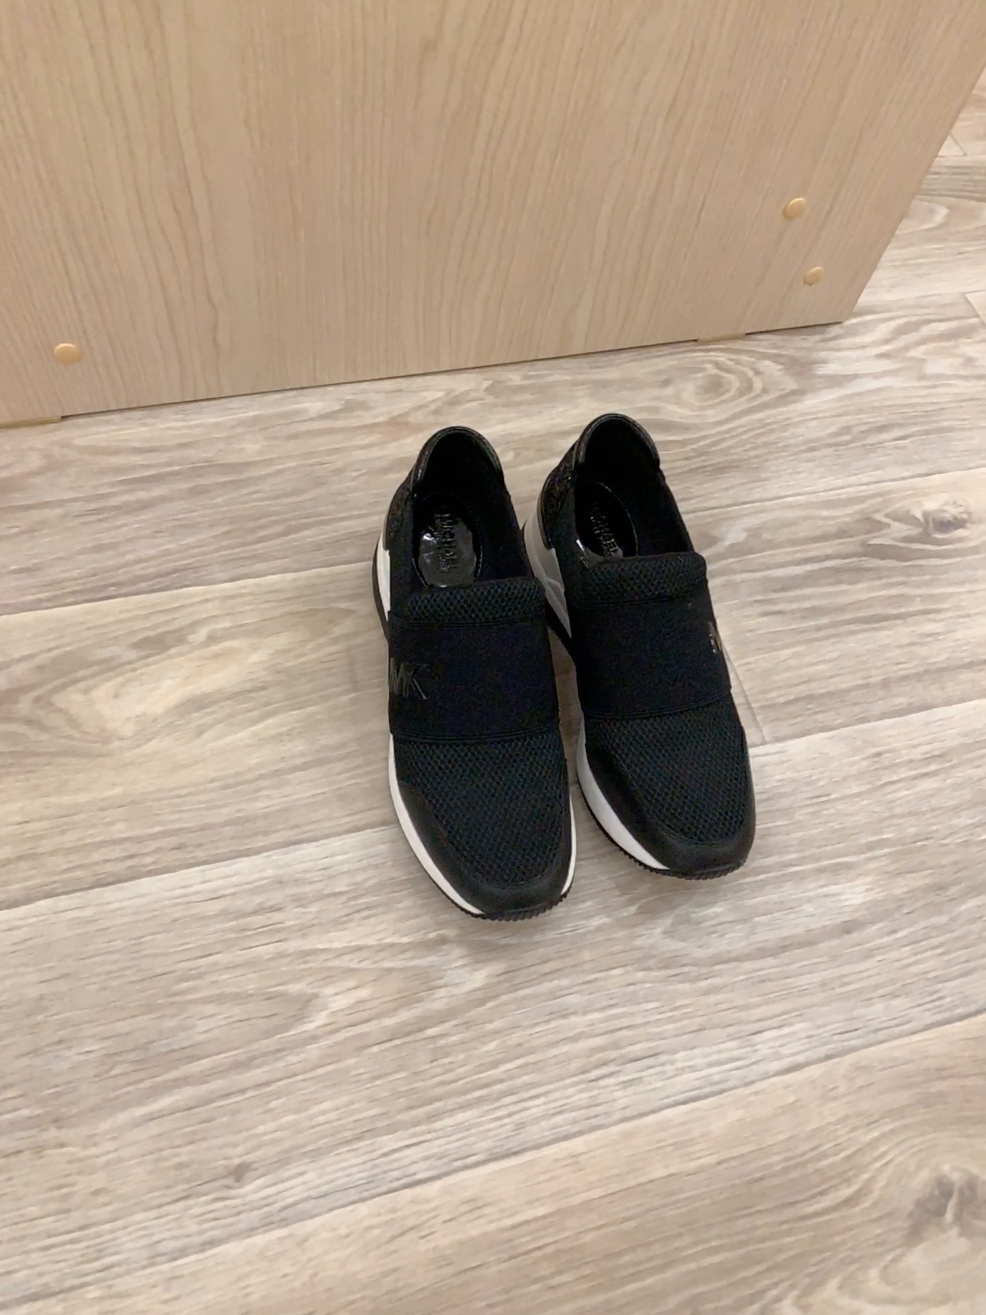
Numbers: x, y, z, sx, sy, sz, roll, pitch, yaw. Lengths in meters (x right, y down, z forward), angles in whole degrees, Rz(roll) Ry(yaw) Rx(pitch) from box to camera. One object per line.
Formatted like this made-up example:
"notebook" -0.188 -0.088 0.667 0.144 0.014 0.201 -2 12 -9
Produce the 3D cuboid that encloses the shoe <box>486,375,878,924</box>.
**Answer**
"shoe" 0.083 -0.009 0.546 0.098 0.120 0.261 -10 62 -13

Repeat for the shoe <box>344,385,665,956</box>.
"shoe" -0.010 0.002 0.524 0.098 0.120 0.261 -7 62 -12
